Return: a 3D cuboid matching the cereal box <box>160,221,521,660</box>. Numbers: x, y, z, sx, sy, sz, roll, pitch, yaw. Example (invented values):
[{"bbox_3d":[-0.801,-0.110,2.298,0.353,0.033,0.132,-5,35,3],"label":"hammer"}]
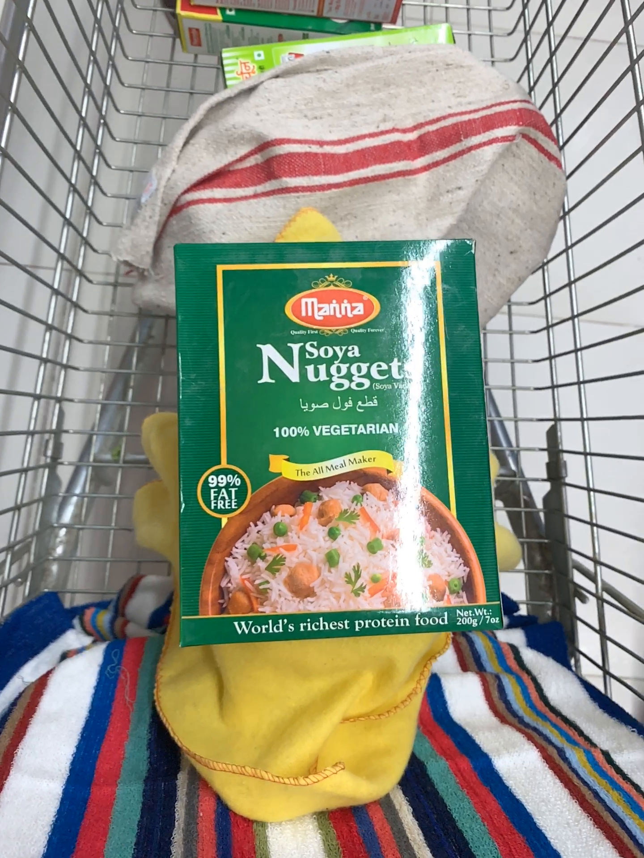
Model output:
[{"bbox_3d":[0.005,0.003,0.336,0.160,0.060,0.200,-1,83,-3],"label":"cereal box"}]
